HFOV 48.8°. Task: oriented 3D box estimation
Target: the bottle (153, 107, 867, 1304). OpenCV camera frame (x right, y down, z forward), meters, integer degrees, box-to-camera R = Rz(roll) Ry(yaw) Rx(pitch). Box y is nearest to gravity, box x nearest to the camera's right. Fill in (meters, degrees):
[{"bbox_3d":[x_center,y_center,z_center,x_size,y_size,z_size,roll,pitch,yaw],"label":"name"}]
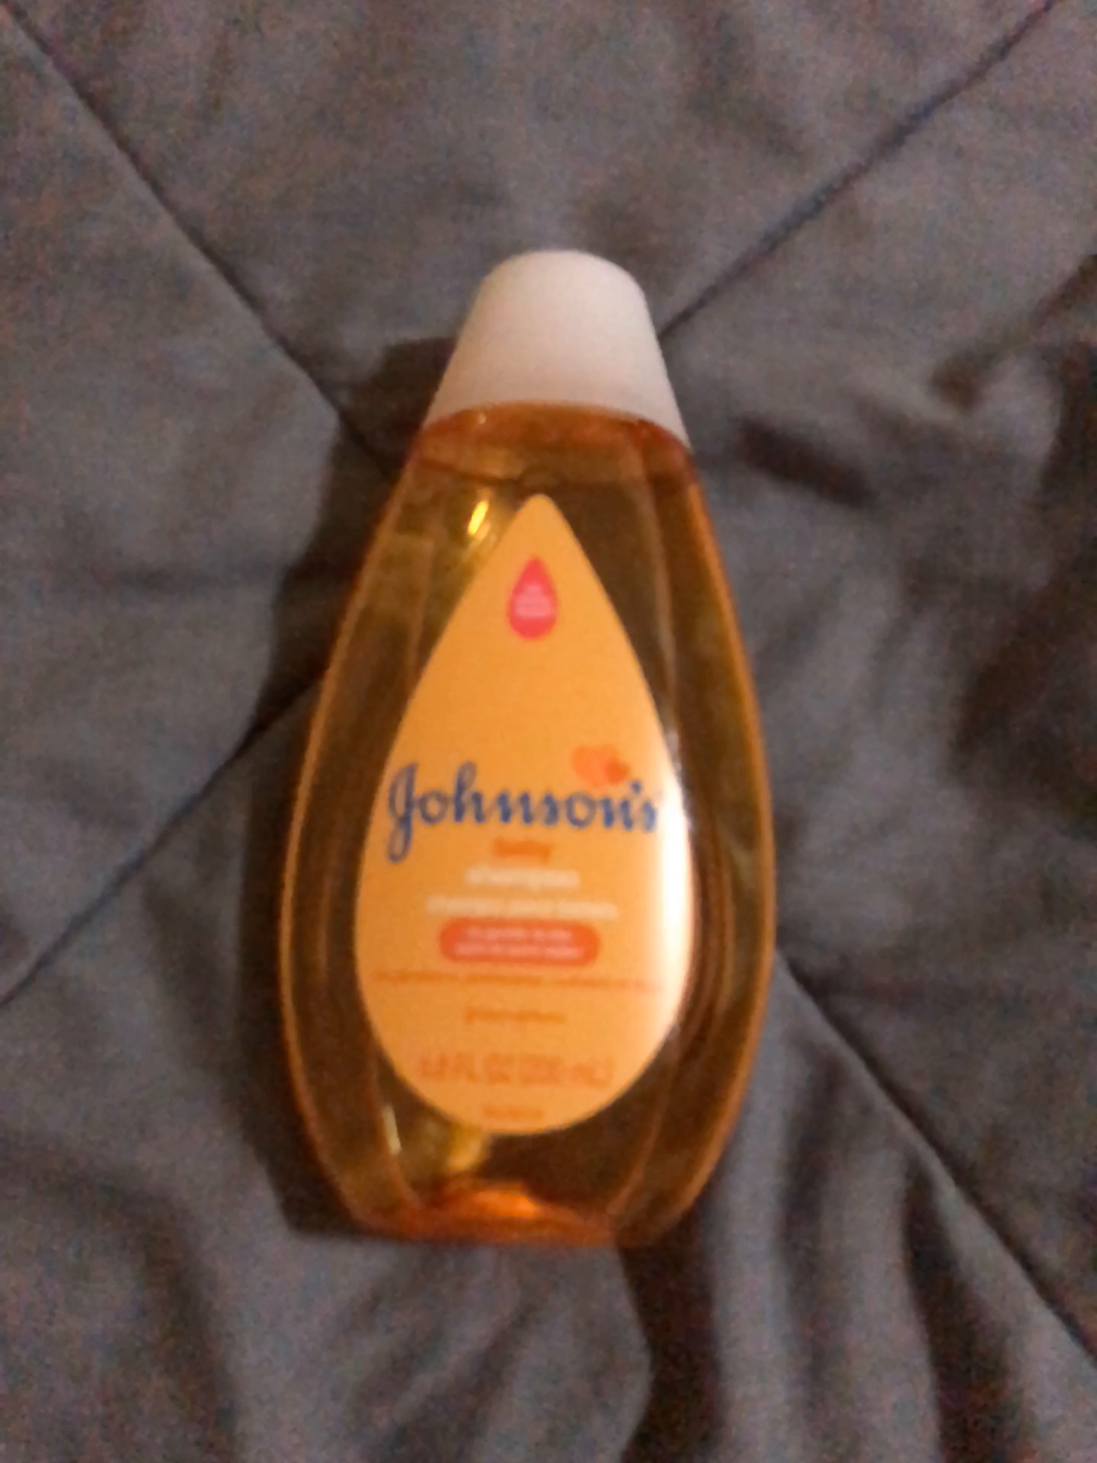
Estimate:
[{"bbox_3d":[-0.005,-0.007,0.178,0.083,0.040,0.160,-1,78,1],"label":"bottle"}]
